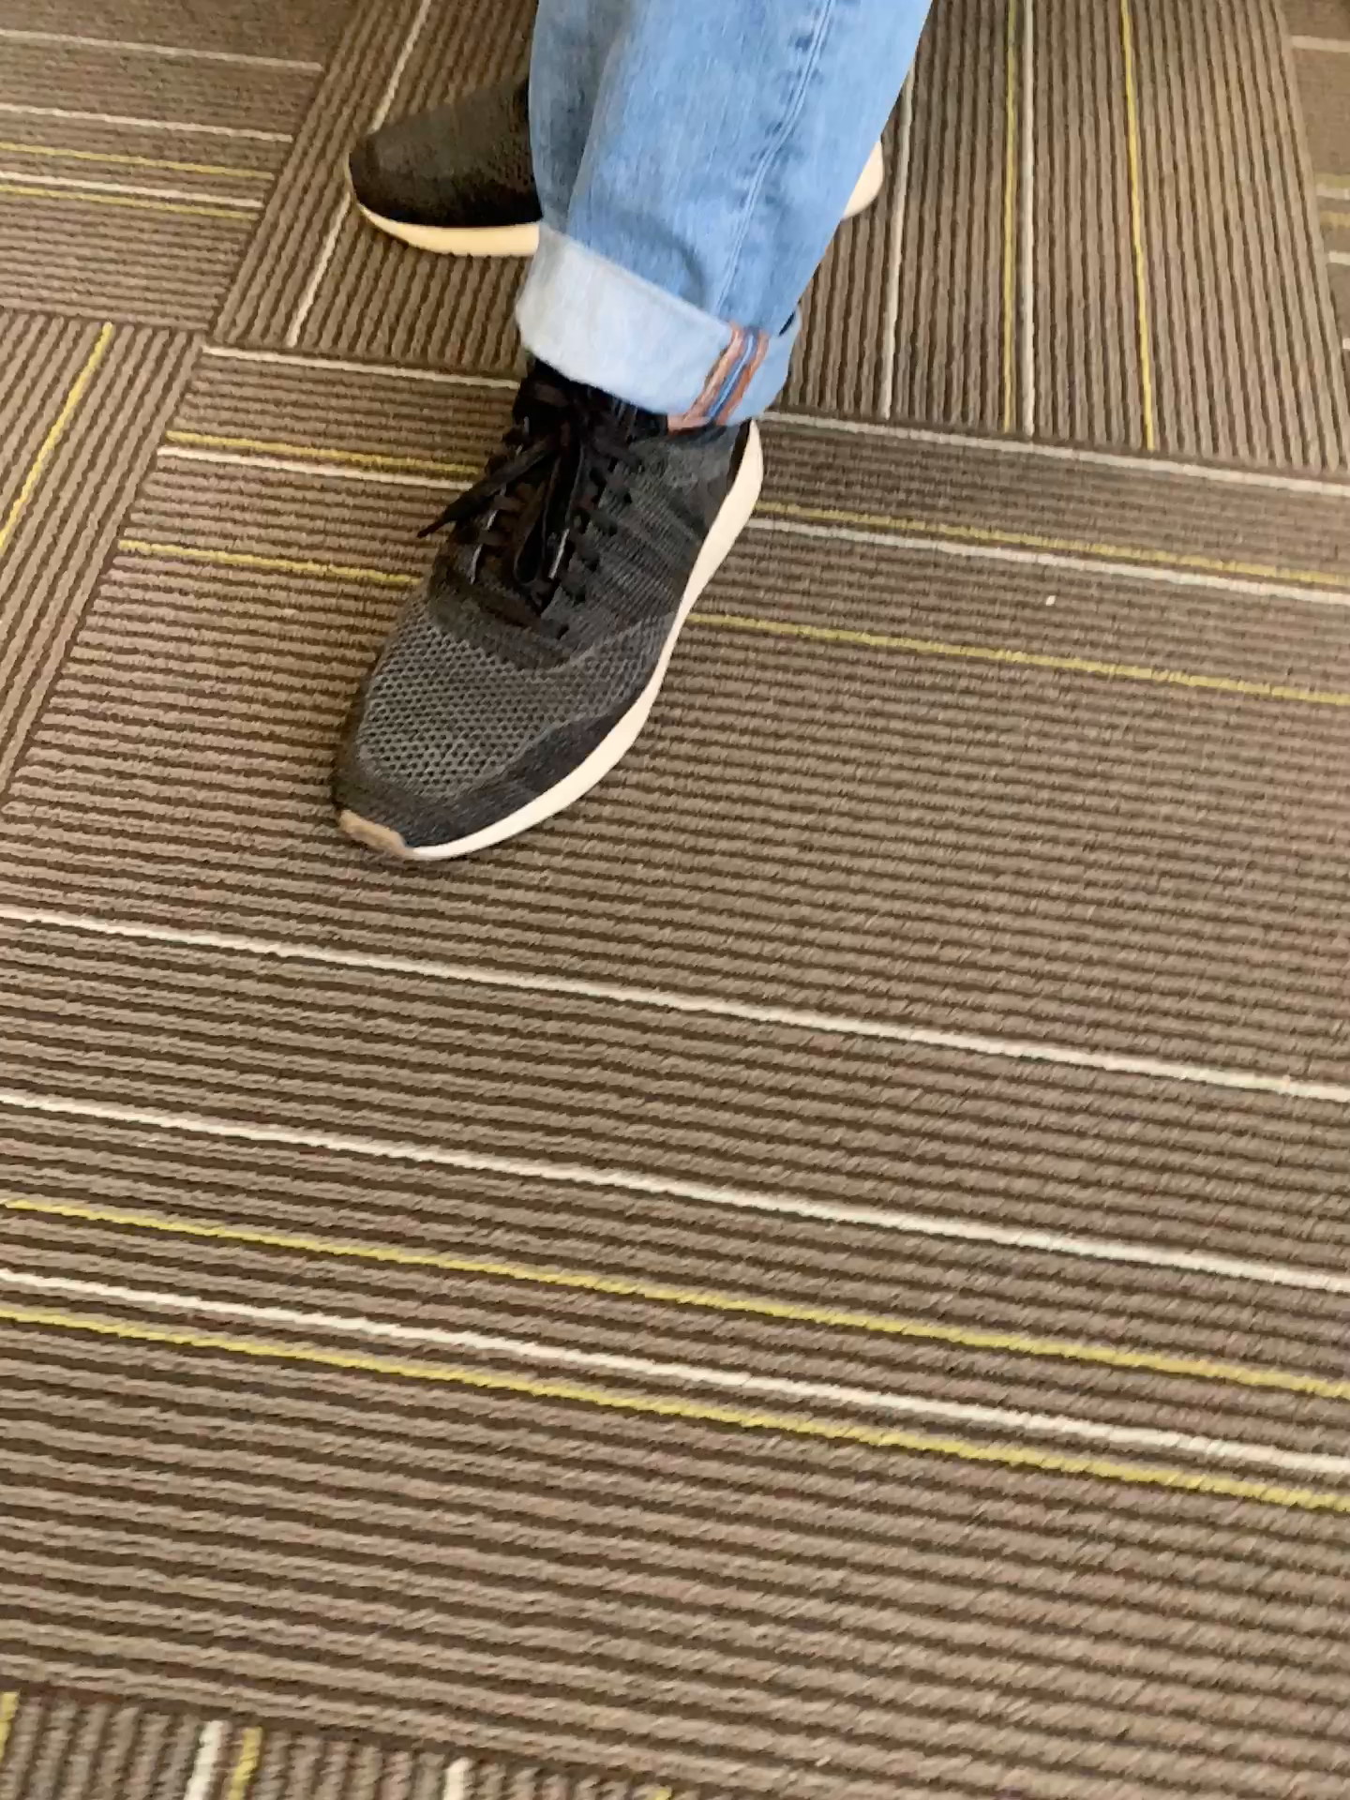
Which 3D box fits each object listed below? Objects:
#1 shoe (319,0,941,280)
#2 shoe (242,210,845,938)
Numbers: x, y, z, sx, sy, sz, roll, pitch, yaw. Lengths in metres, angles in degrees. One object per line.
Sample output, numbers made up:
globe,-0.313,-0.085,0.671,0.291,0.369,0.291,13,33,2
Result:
shoe,-0.026,-0.438,0.761,0.306,0.106,0.110,-9,62,-7
shoe,-0.043,-0.152,0.609,0.112,0.106,0.307,24,63,10
